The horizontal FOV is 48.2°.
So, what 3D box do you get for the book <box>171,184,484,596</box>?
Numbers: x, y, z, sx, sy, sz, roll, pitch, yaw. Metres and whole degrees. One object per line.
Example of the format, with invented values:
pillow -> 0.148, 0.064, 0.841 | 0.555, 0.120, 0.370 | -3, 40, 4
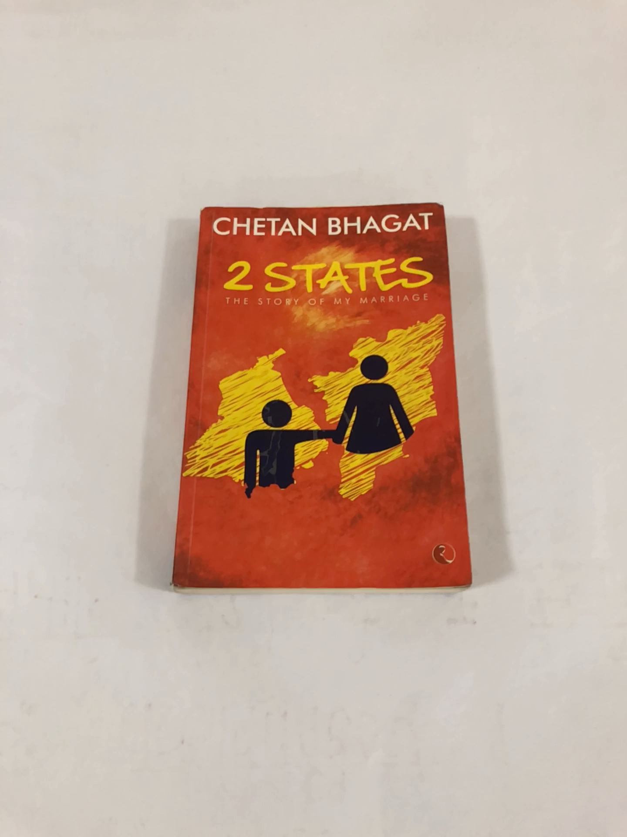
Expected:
book -> 0.006, -0.018, 0.326 | 0.122, 0.040, 0.190 | 1, 69, 0
